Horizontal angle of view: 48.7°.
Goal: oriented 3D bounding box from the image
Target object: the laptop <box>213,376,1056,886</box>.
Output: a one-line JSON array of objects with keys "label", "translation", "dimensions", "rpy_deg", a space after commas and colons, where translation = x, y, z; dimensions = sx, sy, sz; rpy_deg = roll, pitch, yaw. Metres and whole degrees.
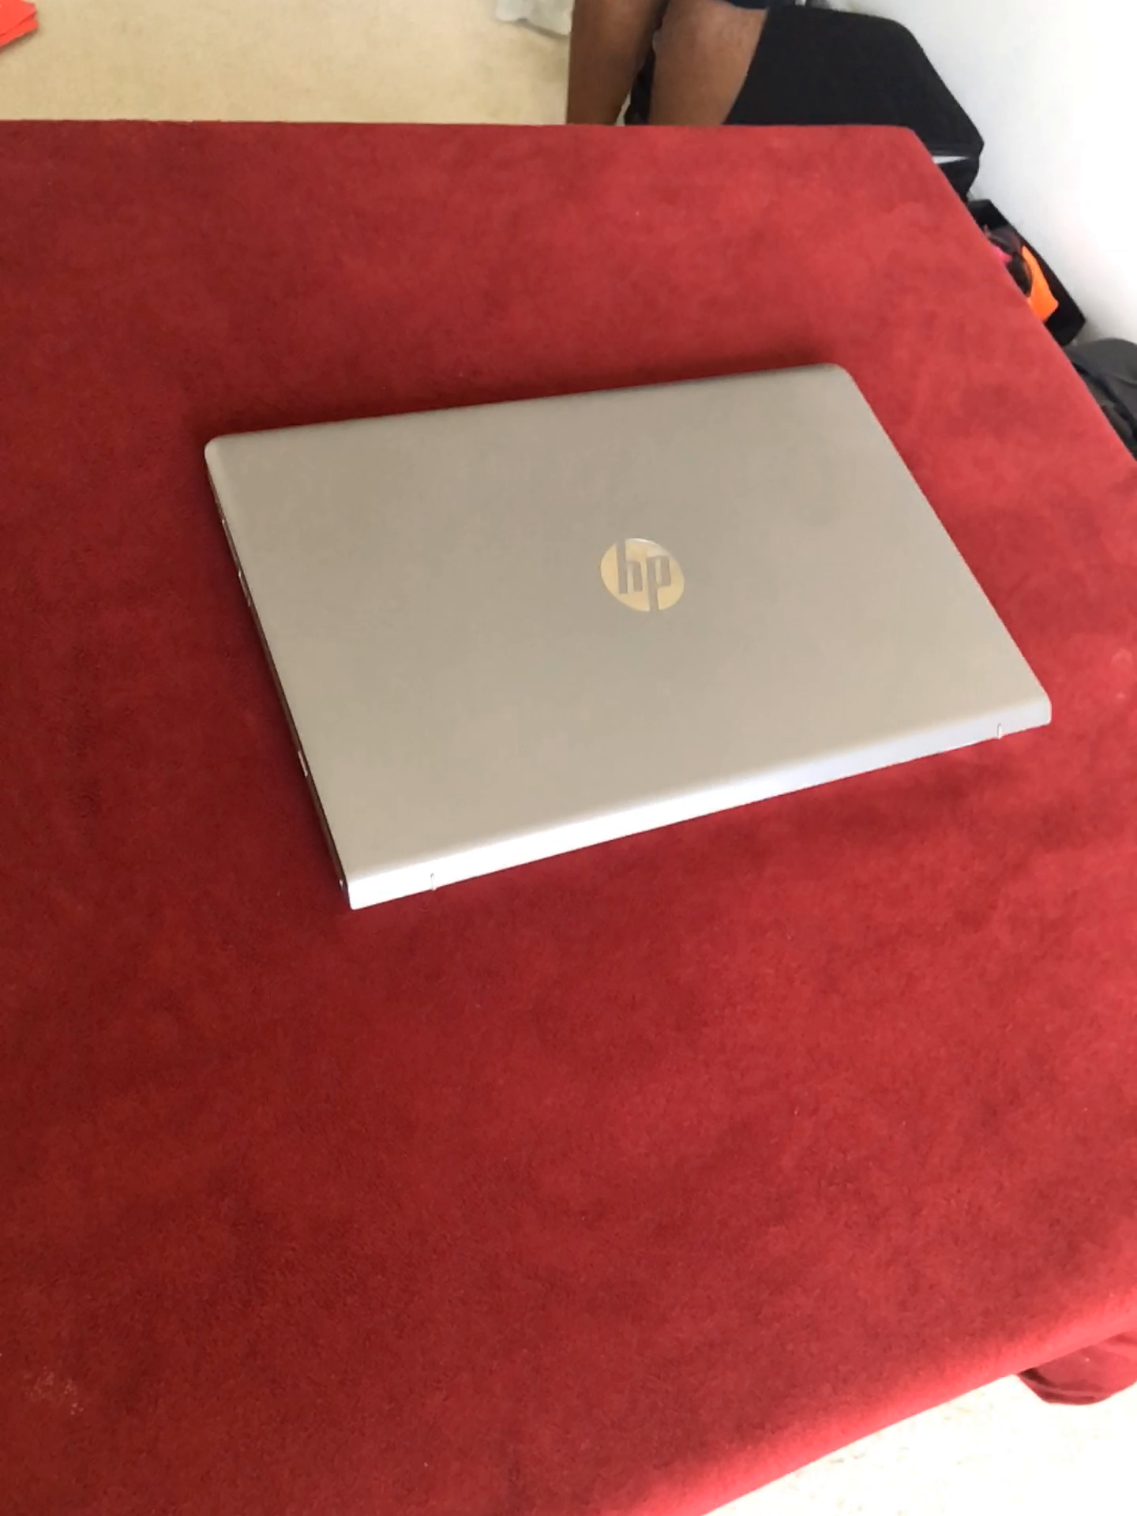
[{"label": "laptop", "translation": [0.039, -0.087, 0.626], "dimensions": [0.372, 0.006, 0.234], "rpy_deg": [-13, 63, -22]}]
